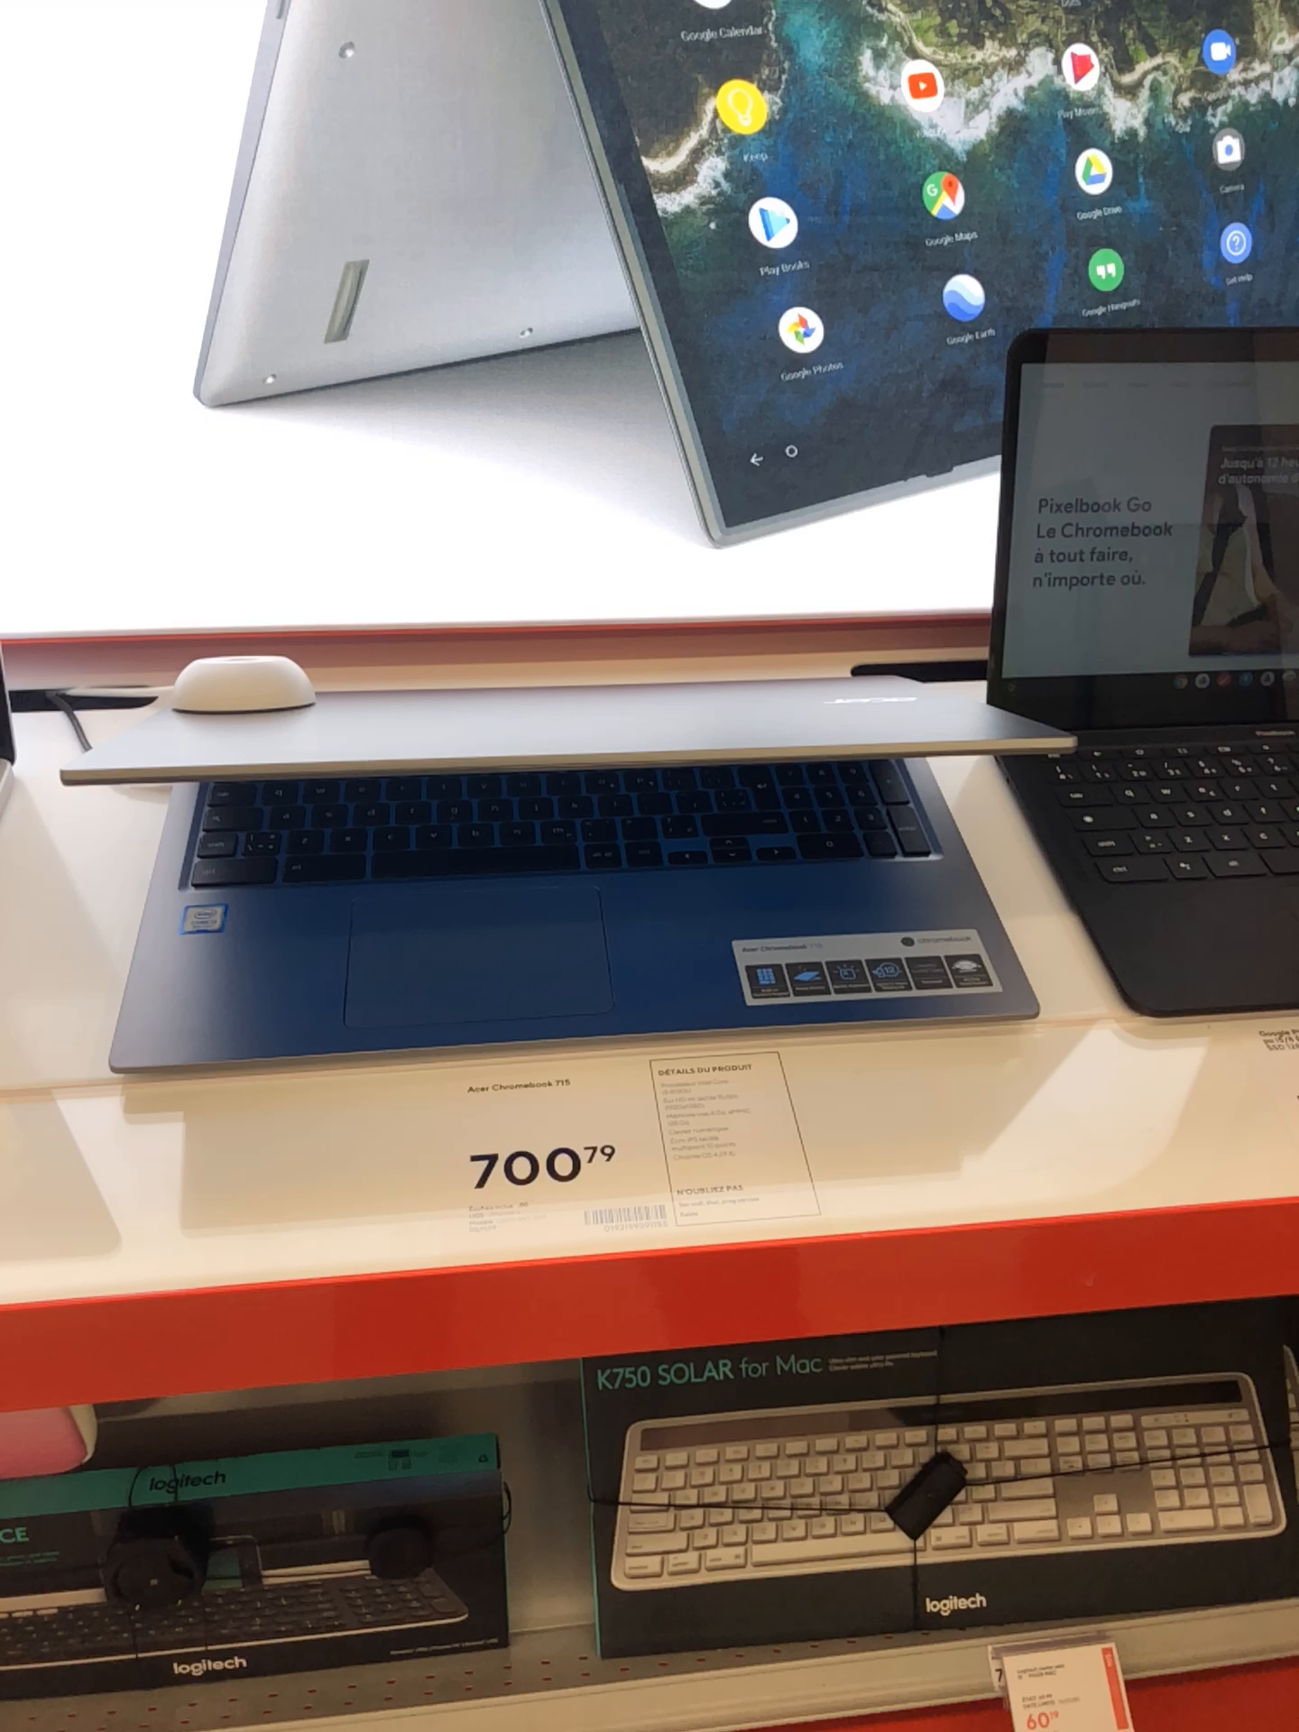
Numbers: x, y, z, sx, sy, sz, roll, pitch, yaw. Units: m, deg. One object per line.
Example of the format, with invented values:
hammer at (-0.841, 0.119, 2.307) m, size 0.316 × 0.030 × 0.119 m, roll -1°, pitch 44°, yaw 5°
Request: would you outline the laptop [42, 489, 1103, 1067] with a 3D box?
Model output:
laptop at (-0.032, -0.056, 0.620) m, size 0.368 × 0.109 × 0.245 m, roll -3°, pitch 40°, yaw -9°
